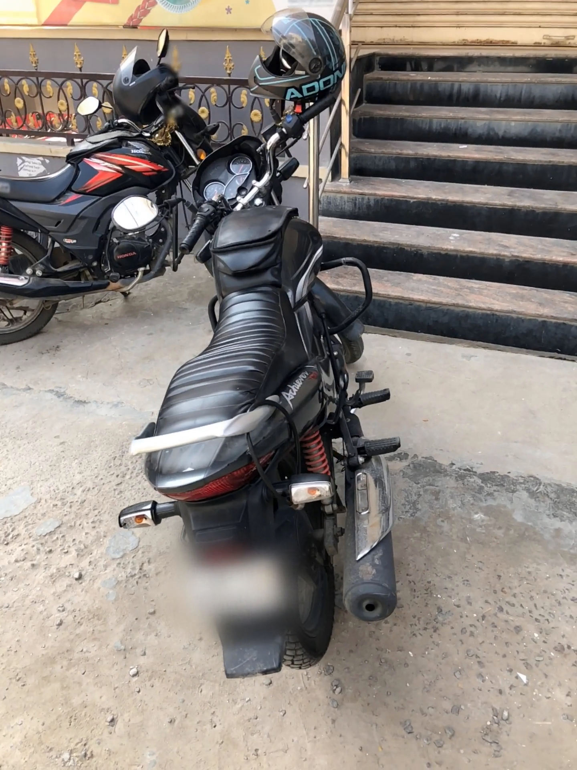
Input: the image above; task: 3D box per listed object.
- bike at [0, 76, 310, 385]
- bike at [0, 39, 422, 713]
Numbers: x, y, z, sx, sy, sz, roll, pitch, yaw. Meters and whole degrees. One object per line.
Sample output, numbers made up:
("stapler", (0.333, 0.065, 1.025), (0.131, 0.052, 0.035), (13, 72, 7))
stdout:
("bike", (-0.775, -0.806, 2.913), (1.603, 1.056, 0.685), (-17, 34, -29))
("bike", (-0.248, -0.267, 1.875), (0.746, 1.155, 1.745), (-2, 33, -2))
